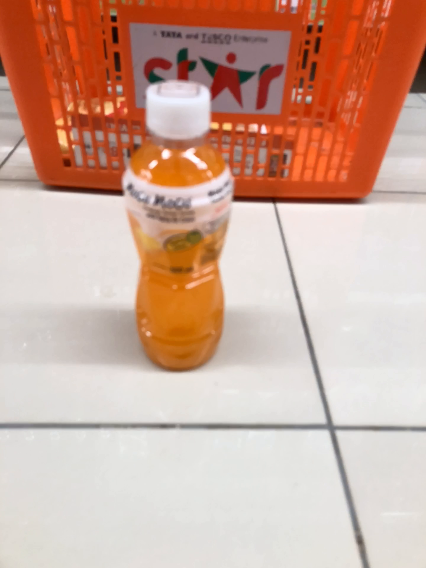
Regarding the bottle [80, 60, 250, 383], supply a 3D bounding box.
[{"bbox_3d":[-0.020,-0.027,0.256,0.060,0.159,0.066,2,39,-1],"label":"bottle"}]
